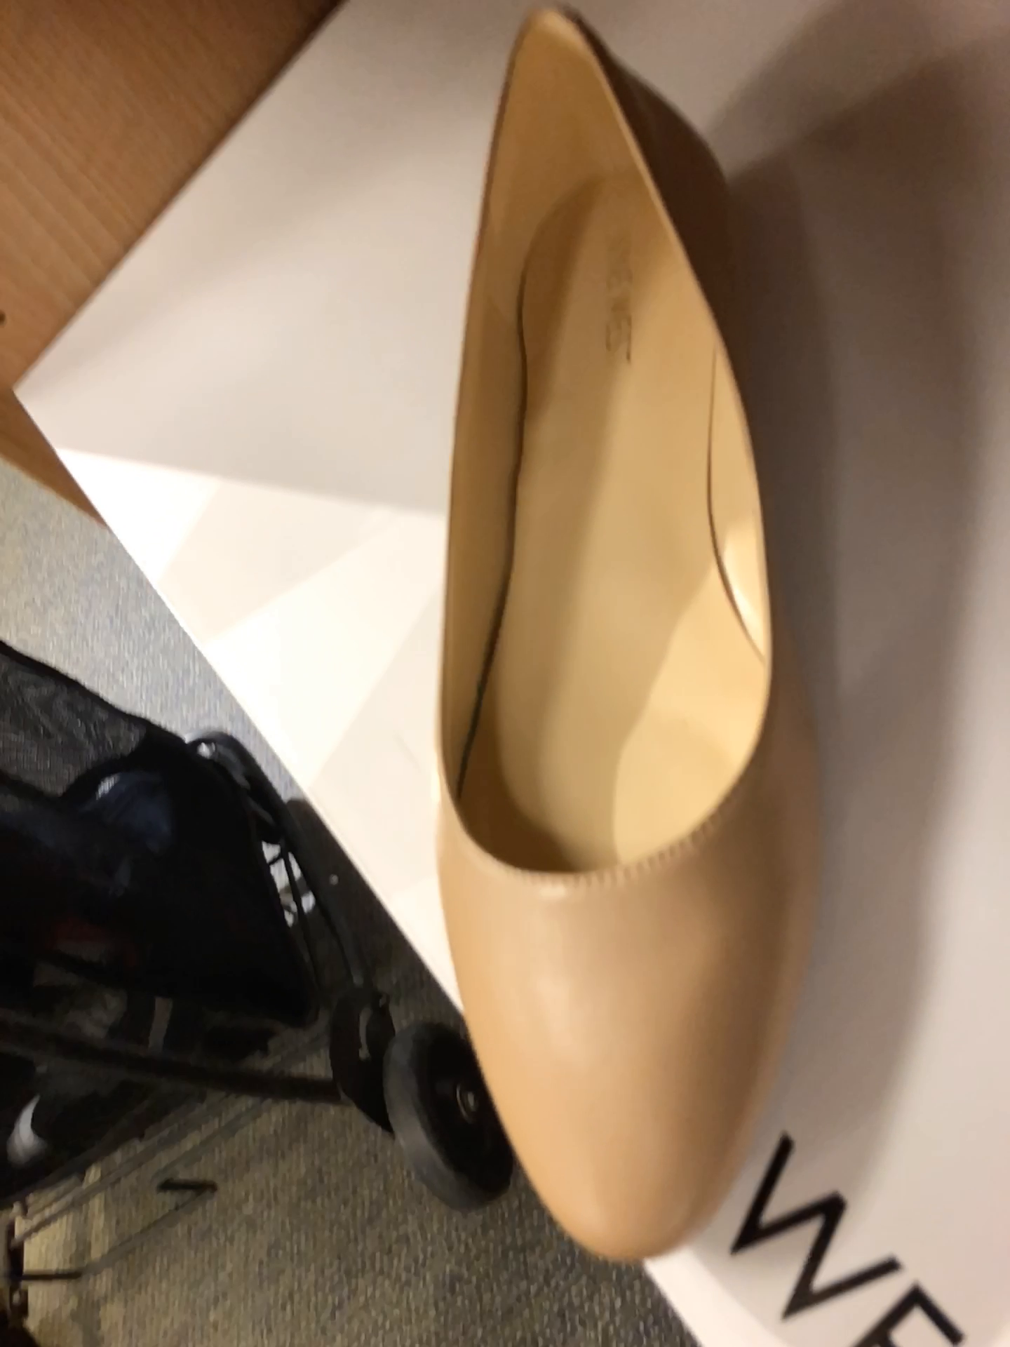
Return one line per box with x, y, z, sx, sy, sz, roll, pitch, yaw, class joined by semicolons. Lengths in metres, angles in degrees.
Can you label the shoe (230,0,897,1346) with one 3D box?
0.020;-0.021;0.220;0.082;0.070;0.270;-8;67;30;shoe
